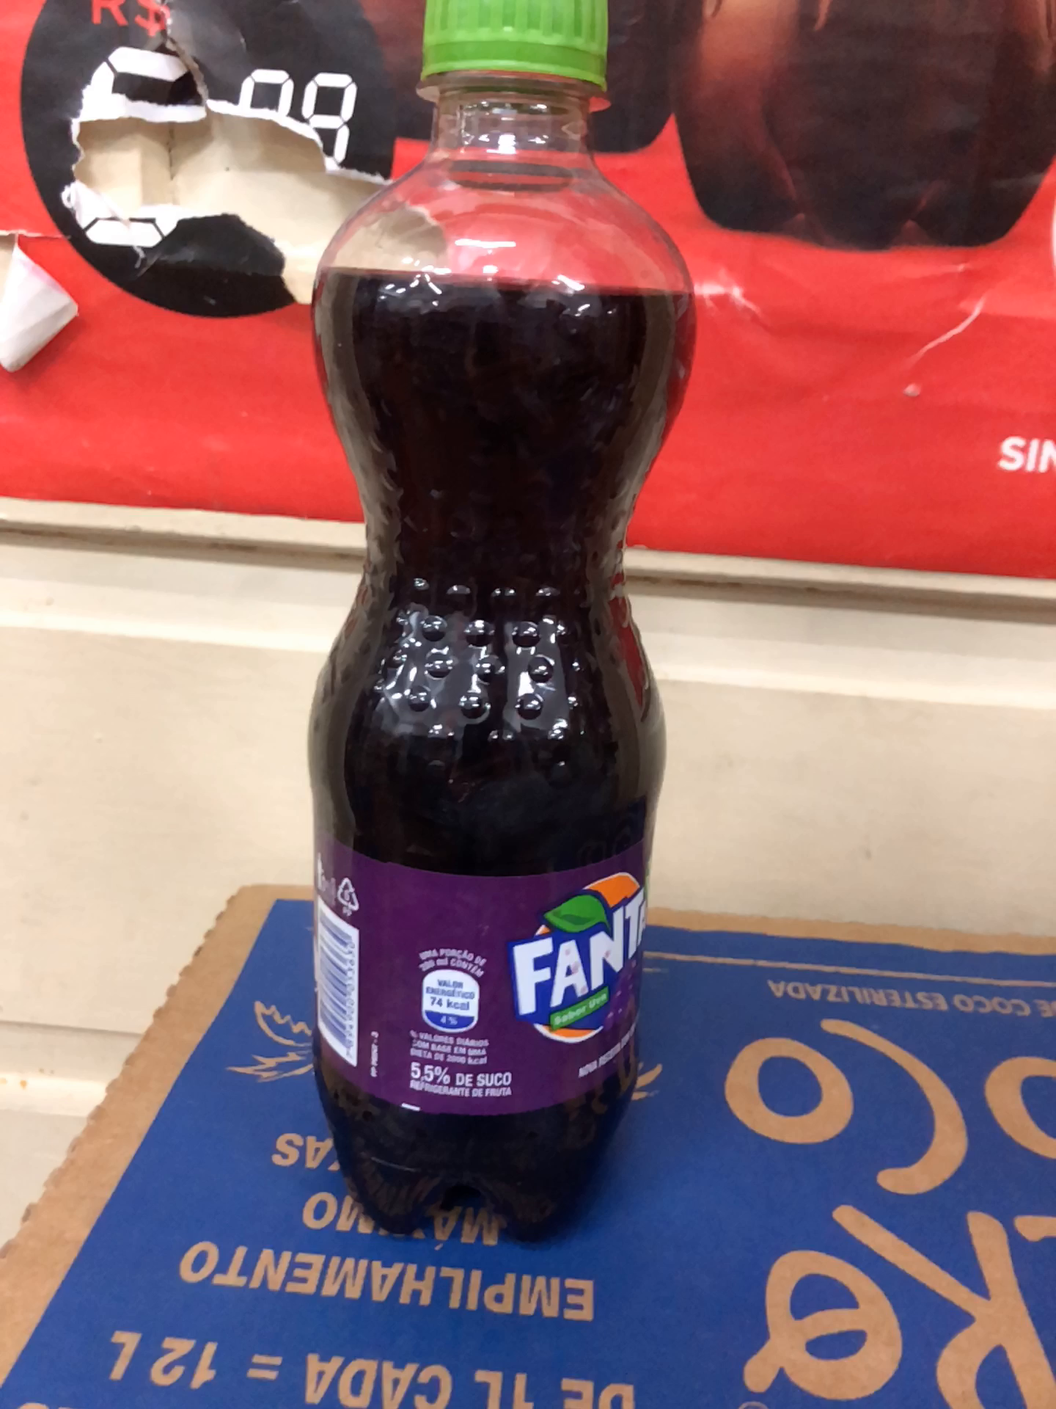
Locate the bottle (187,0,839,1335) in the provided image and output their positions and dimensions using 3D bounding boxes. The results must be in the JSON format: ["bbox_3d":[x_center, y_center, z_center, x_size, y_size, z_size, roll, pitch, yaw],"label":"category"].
[{"bbox_3d":[-0.008,-0.014,0.225,0.070,0.229,0.080,19,23,41],"label":"bottle"}]
